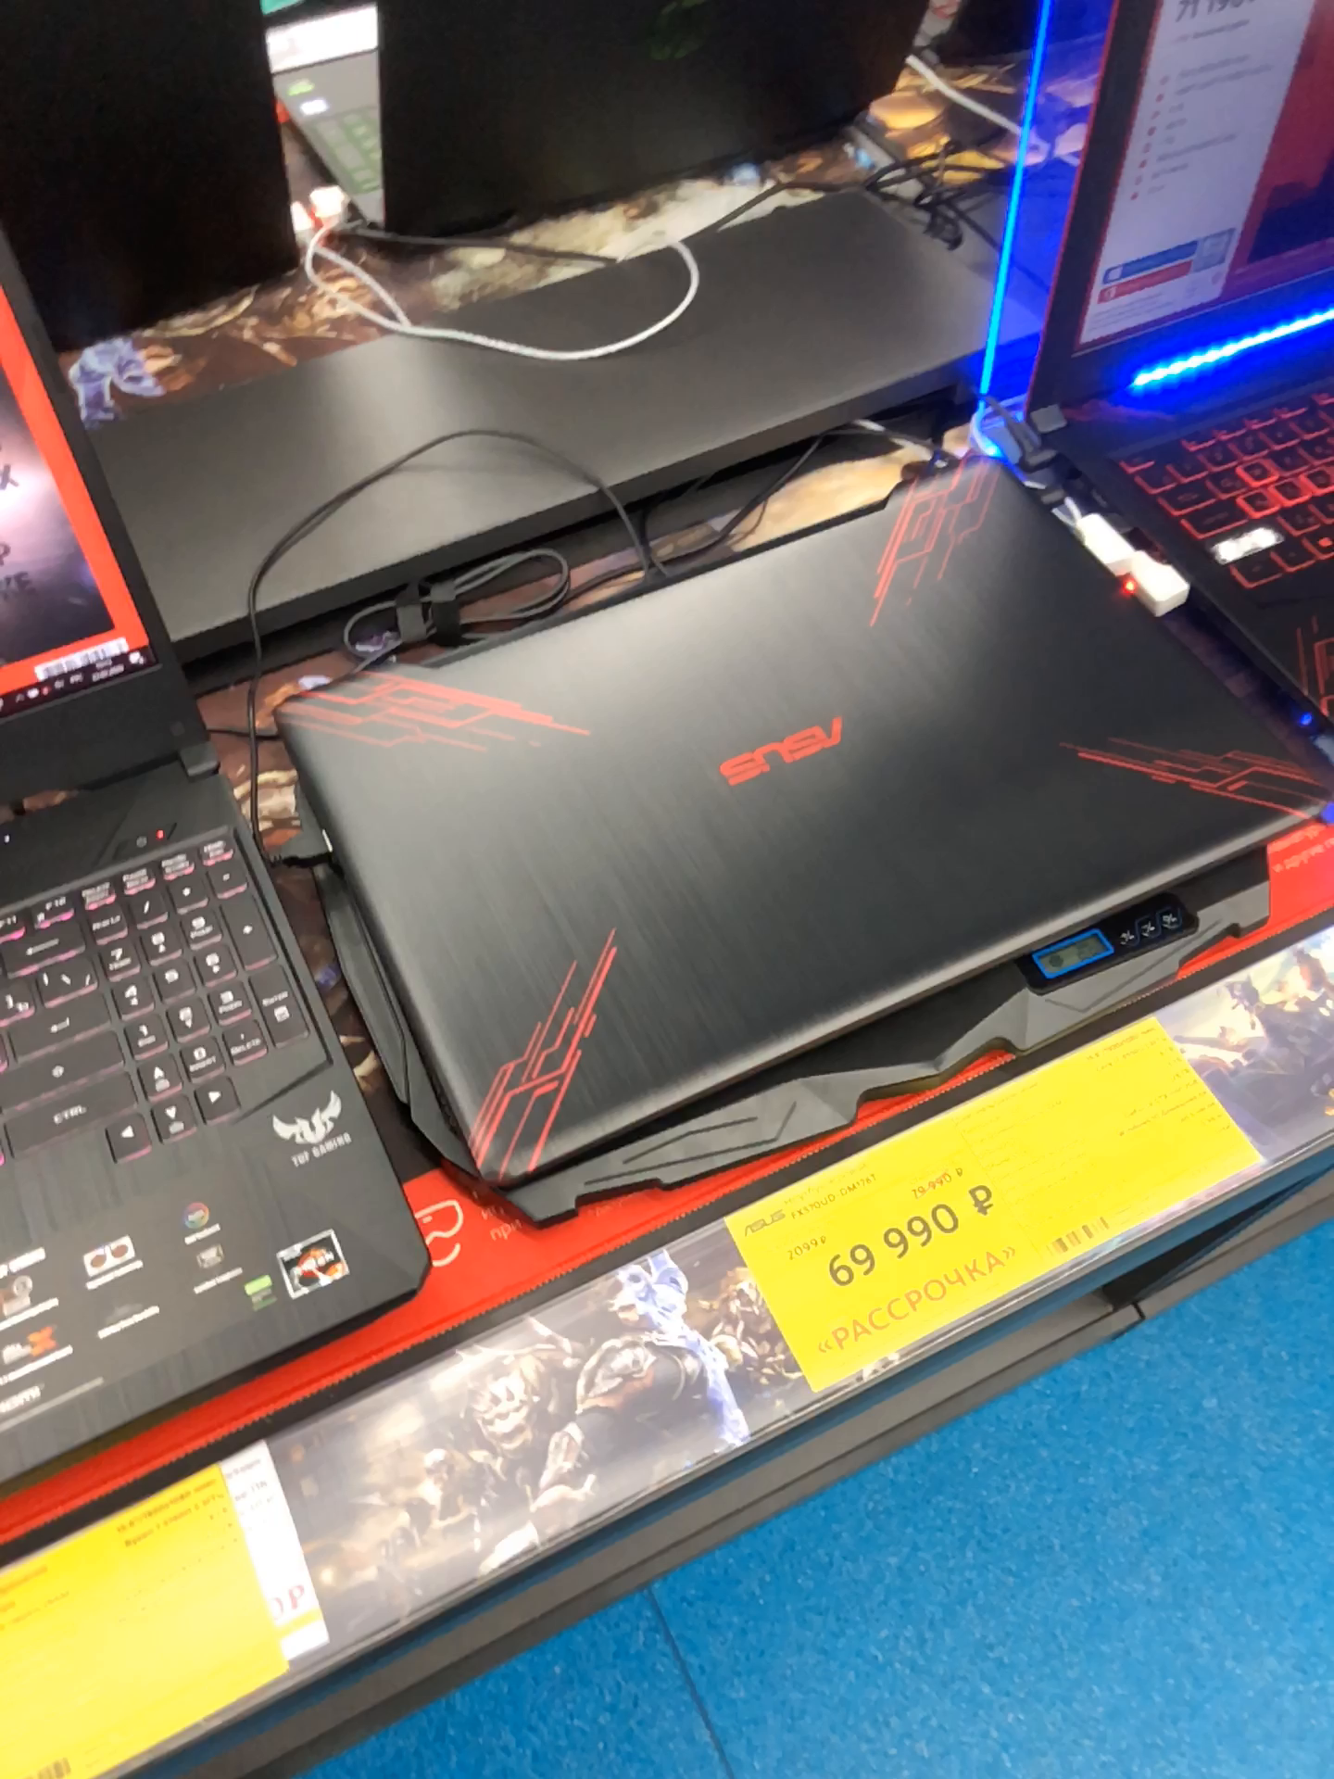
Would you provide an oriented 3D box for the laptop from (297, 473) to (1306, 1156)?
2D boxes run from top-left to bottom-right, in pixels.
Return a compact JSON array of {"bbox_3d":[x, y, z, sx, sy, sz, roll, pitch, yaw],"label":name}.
[{"bbox_3d":[0.049,-0.057,0.627,0.358,0.003,0.240,-22,55,-13],"label":"laptop"}]
